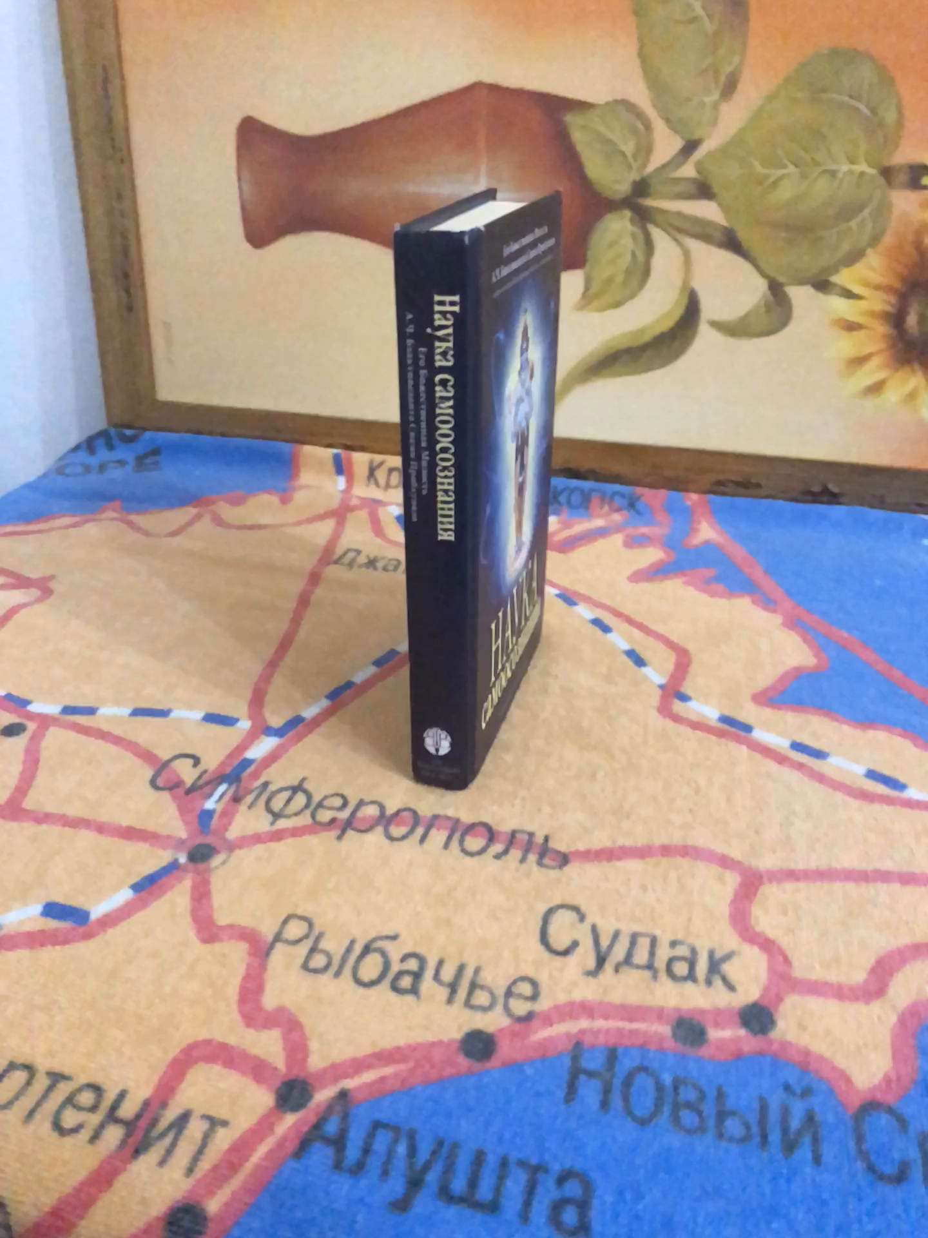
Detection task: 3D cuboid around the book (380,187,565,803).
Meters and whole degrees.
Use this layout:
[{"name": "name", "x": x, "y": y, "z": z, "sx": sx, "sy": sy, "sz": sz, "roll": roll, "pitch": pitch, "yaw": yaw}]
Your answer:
[{"name": "book", "x": 0.011, "y": -0.055, "z": 0.407, "sx": 0.030, "sy": 0.205, "sz": 0.141, "roll": 6, "pitch": 28, "yaw": 14}]
